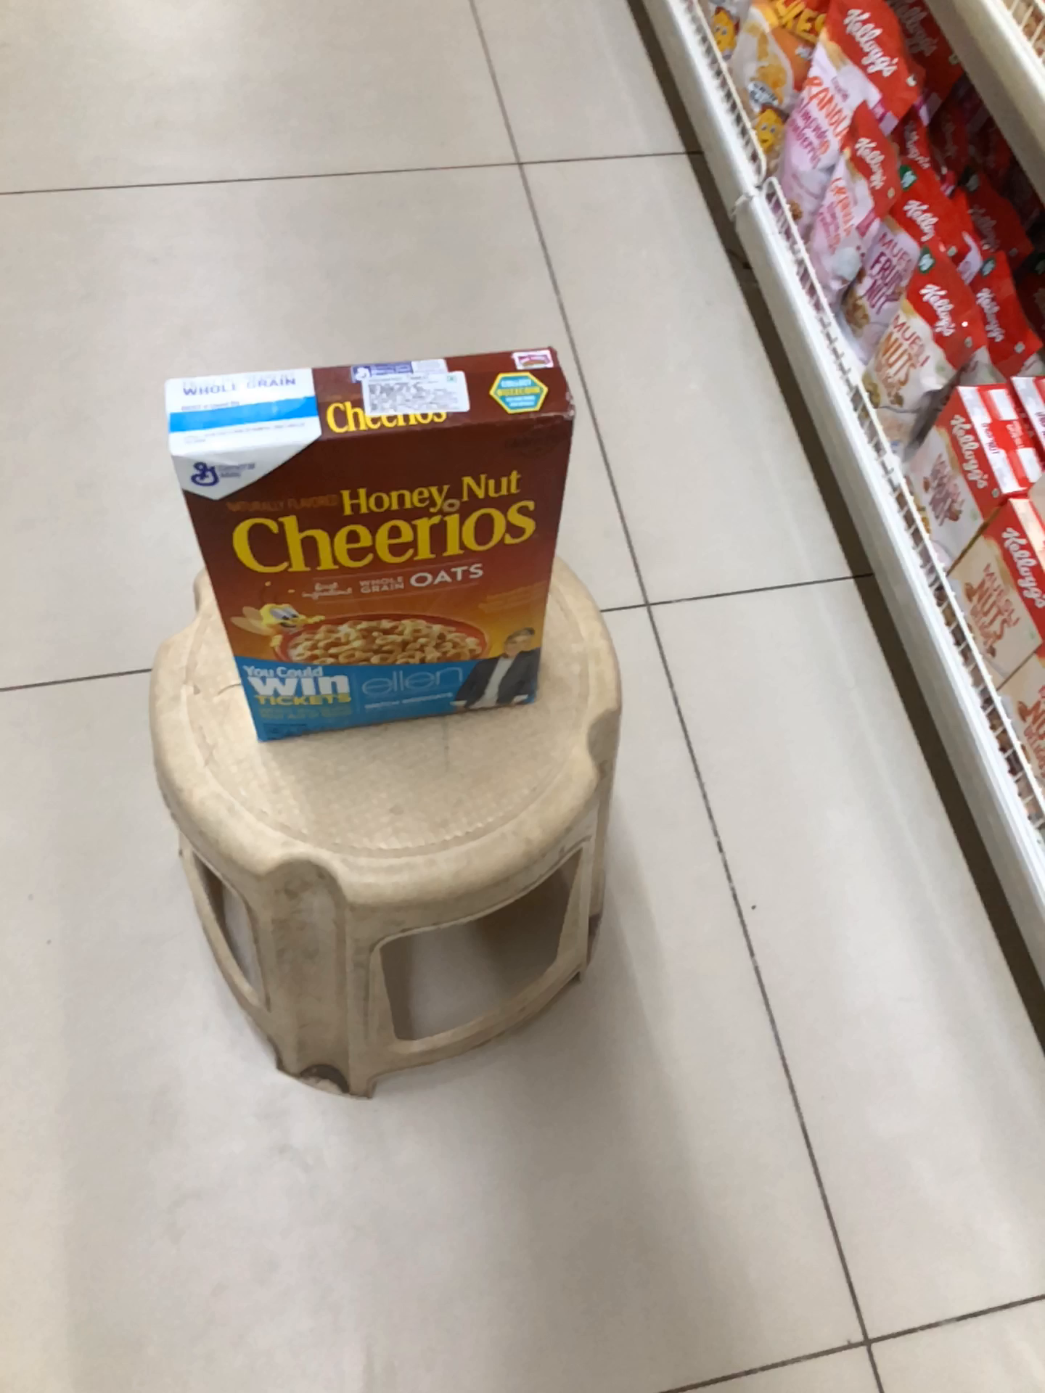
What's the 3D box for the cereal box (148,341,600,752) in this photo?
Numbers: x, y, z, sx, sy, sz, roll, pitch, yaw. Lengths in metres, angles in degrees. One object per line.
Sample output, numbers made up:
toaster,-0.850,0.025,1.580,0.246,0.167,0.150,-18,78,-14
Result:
cereal box,-0.078,-0.065,0.621,0.190,0.279,0.050,-8,64,-11
